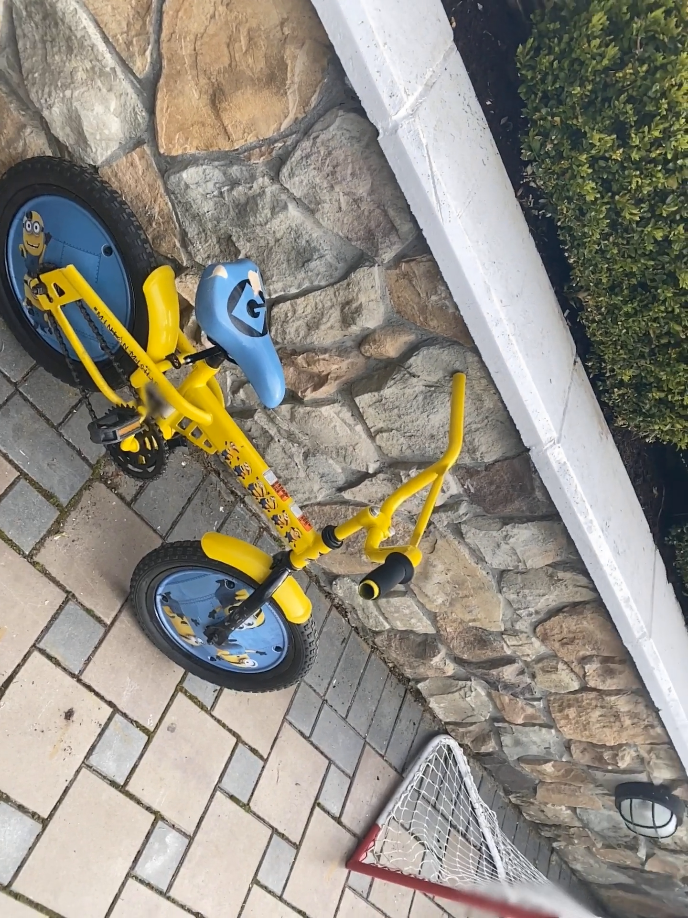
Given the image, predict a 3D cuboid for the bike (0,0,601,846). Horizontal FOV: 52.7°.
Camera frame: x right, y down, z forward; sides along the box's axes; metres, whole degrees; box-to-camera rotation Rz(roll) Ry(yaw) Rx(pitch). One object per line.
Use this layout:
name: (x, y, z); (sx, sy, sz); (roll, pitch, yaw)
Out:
bike: (-0.146, -0.033, 1.236); (0.622, 0.735, 1.086); (-43, 115, -49)
